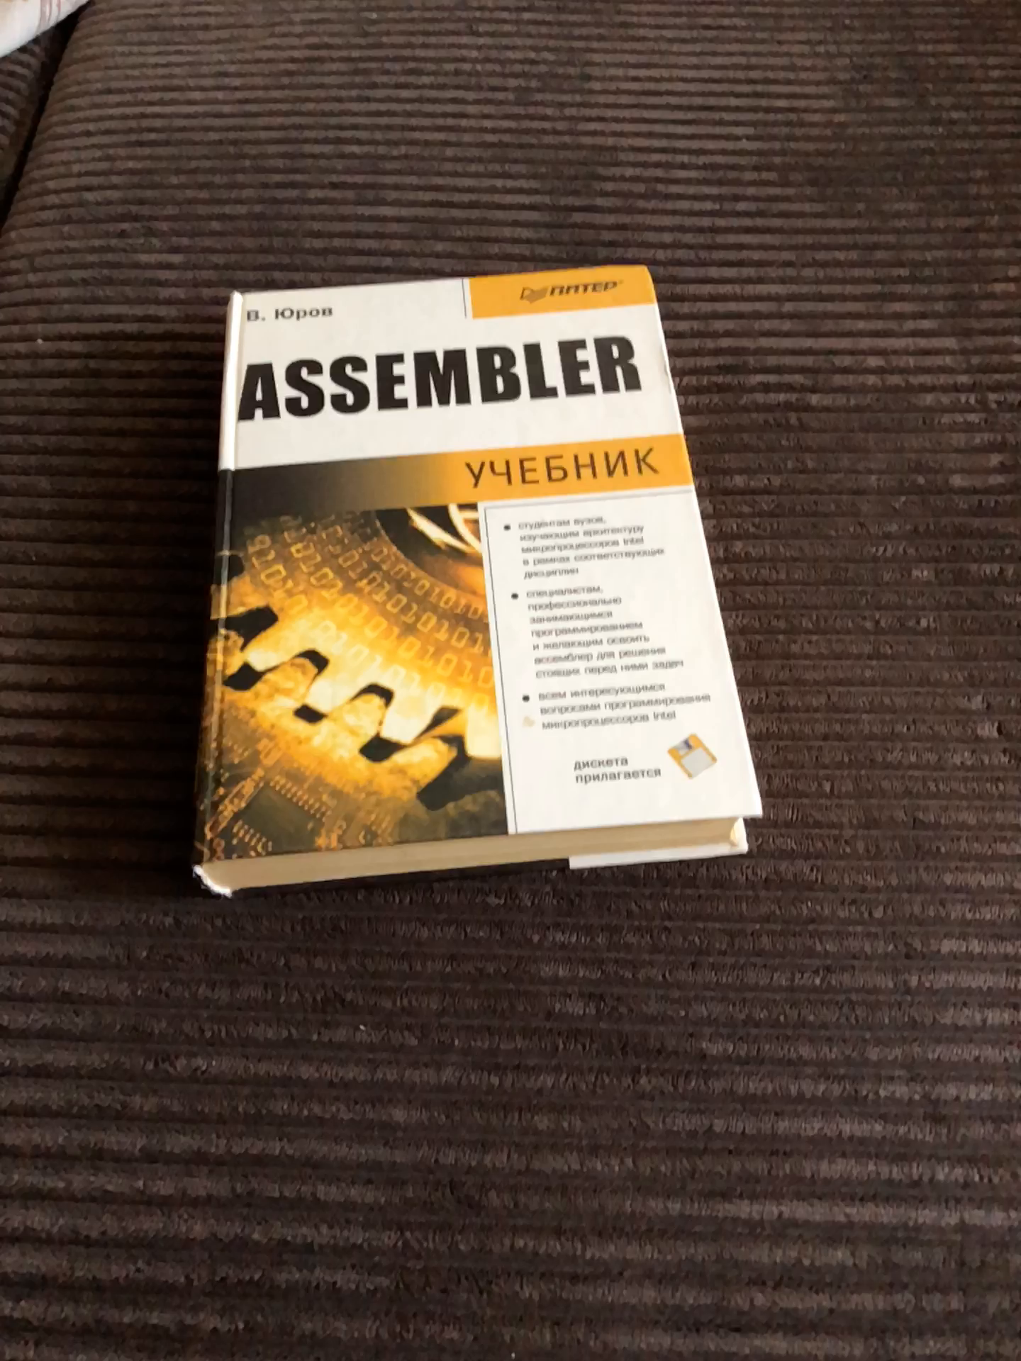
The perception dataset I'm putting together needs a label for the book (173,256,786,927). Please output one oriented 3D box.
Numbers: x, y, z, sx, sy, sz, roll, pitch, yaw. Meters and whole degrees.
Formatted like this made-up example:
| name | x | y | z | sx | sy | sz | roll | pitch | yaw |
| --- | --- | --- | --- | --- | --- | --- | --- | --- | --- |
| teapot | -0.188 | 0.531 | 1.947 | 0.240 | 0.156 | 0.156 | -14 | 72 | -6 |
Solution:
| name | x | y | z | sx | sy | sz | roll | pitch | yaw |
| --- | --- | --- | --- | --- | --- | --- | --- | --- | --- |
| book | -0.019 | -0.044 | 0.397 | 0.170 | 0.058 | 0.237 | -4 | 59 | -4 |
